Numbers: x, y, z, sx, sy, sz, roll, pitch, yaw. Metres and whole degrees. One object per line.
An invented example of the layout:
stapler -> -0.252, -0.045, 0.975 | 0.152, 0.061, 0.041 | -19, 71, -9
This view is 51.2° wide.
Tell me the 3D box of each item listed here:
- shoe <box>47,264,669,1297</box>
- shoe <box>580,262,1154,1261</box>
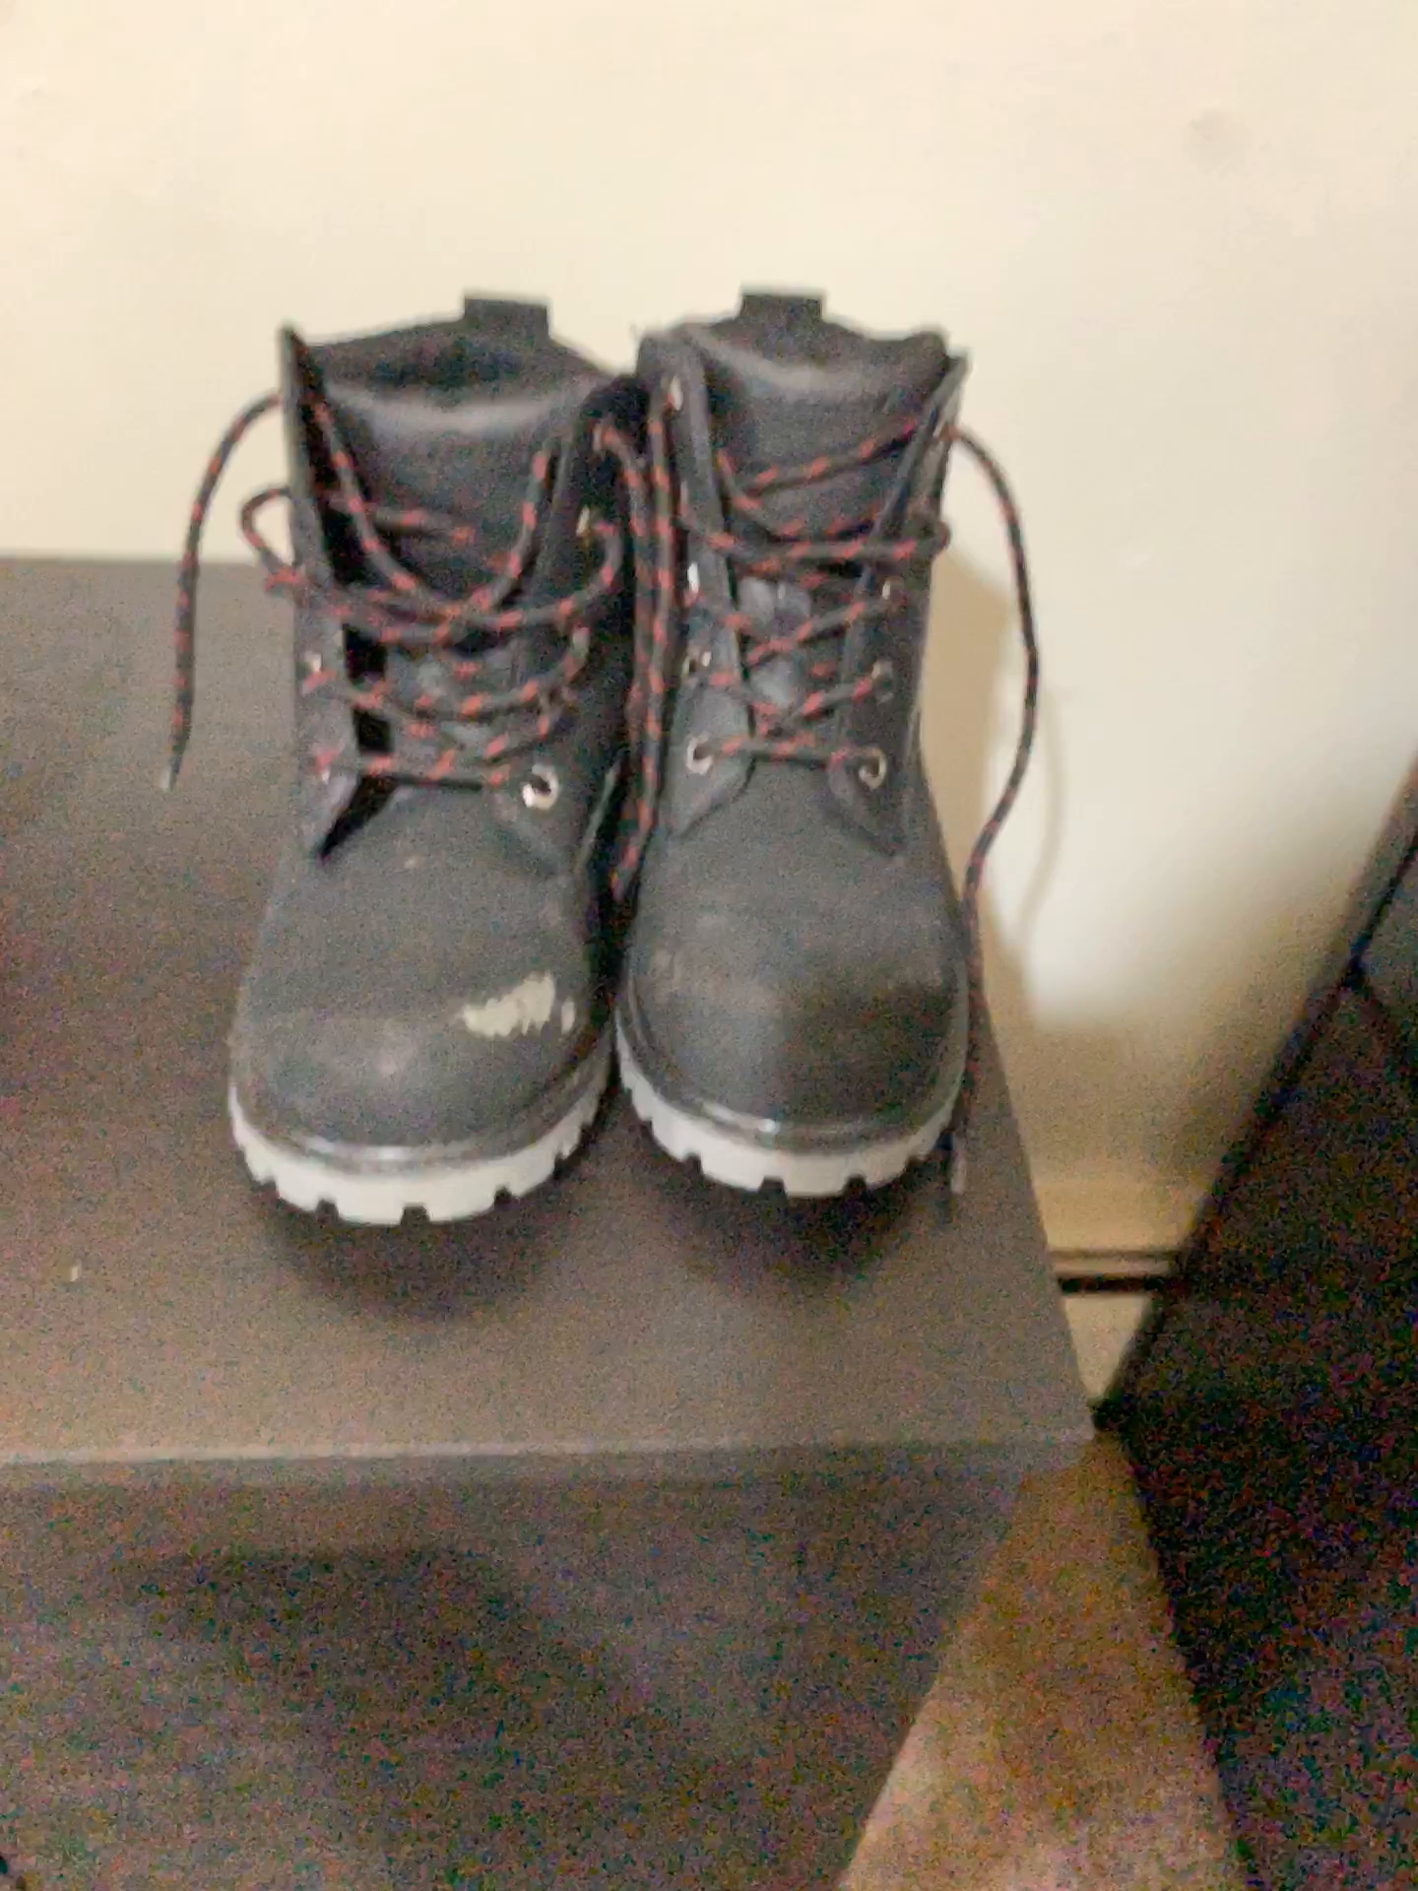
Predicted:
shoe -> -0.068, -0.051, 0.377 | 0.100, 0.159, 0.222 | 1, 42, -5
shoe -> 0.017, -0.060, 0.397 | 0.100, 0.159, 0.232 | 1, 42, -5
